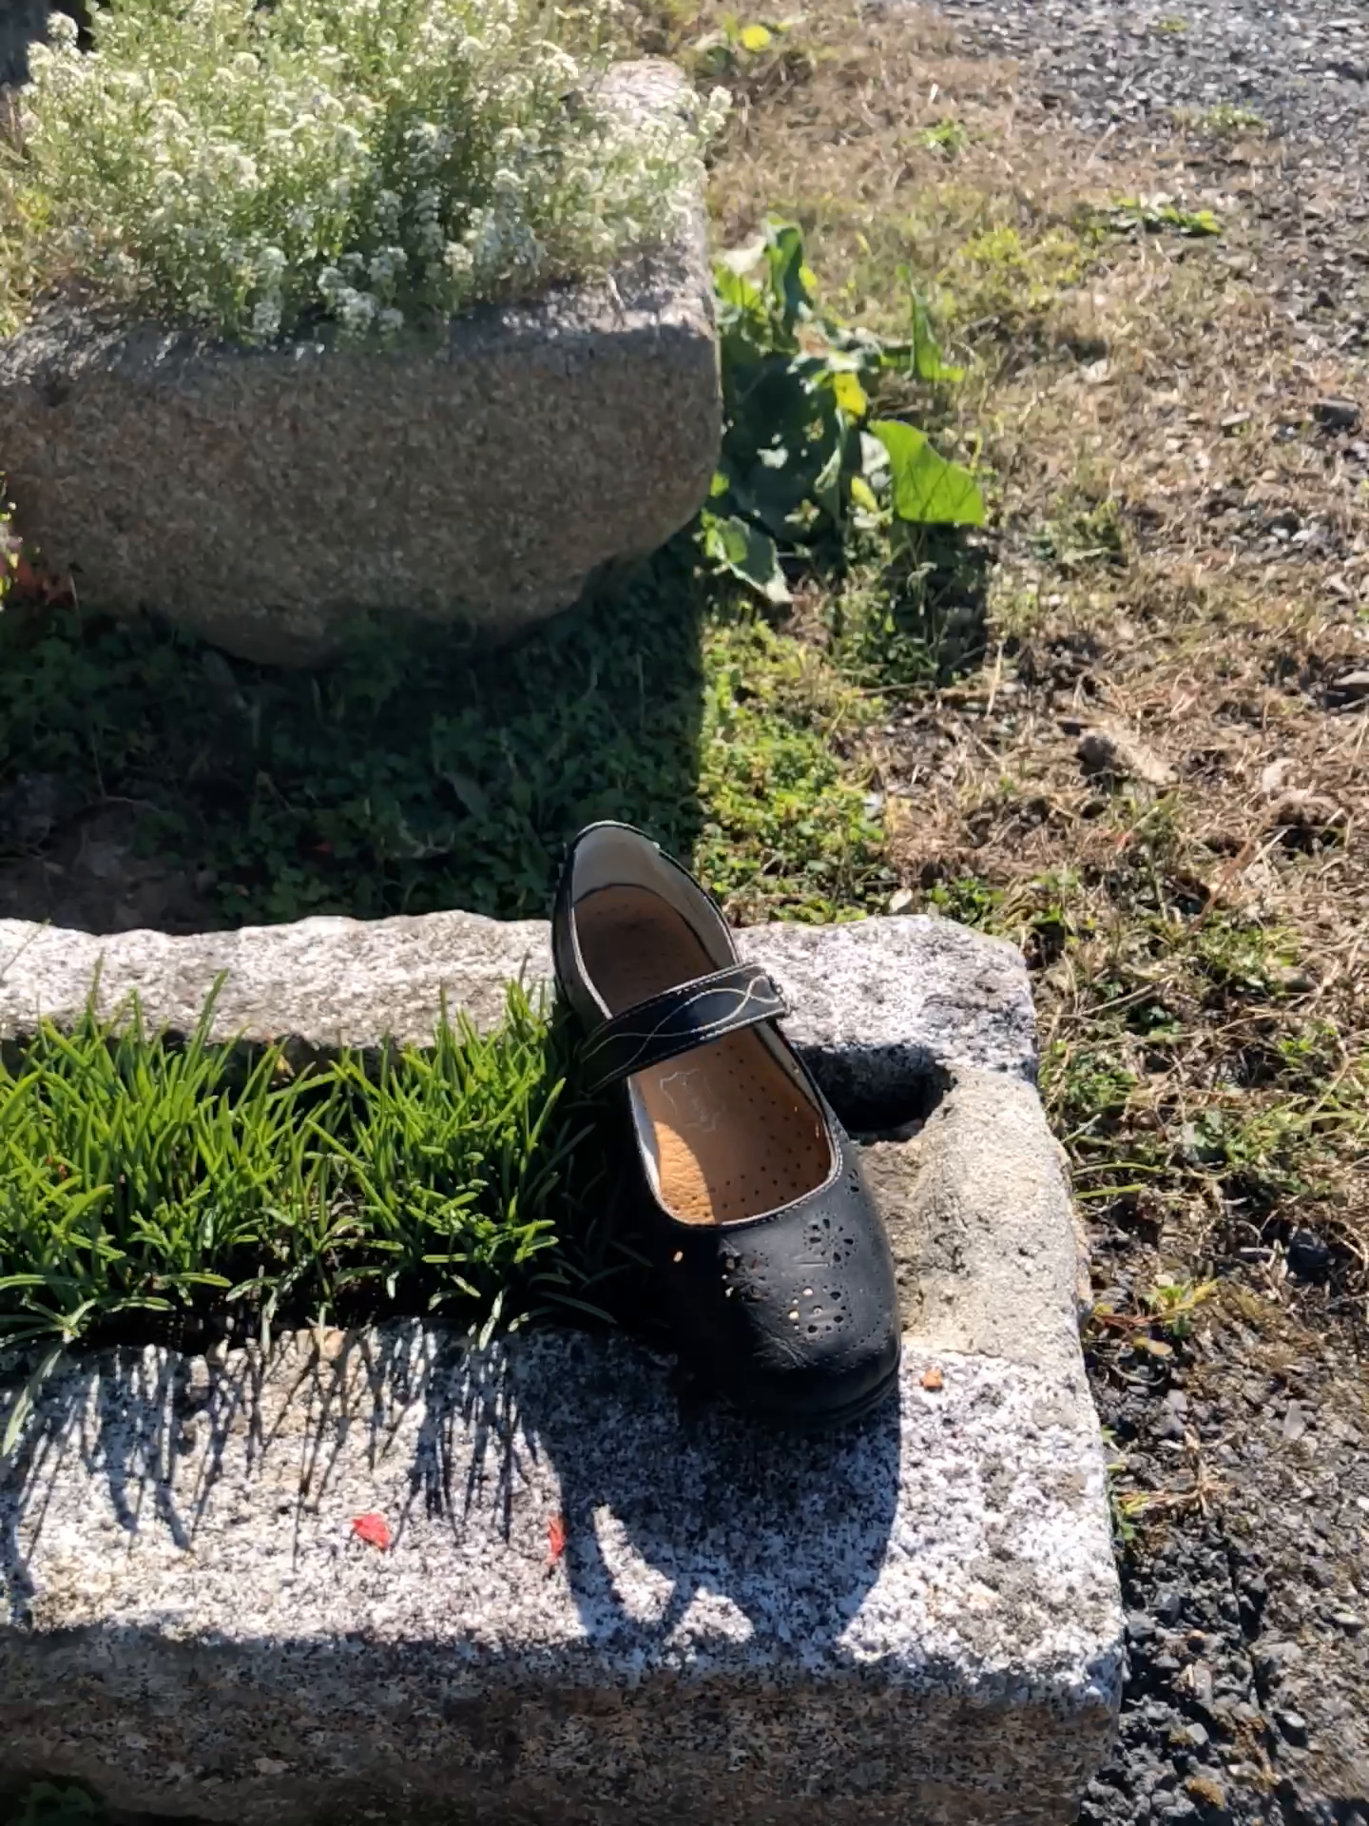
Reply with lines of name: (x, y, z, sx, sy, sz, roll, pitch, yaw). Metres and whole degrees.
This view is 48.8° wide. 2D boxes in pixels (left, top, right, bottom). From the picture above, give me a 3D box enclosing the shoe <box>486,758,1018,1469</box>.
shoe: (0.014, 0.059, 0.572, 0.100, 0.099, 0.251, -17, 41, -14)
